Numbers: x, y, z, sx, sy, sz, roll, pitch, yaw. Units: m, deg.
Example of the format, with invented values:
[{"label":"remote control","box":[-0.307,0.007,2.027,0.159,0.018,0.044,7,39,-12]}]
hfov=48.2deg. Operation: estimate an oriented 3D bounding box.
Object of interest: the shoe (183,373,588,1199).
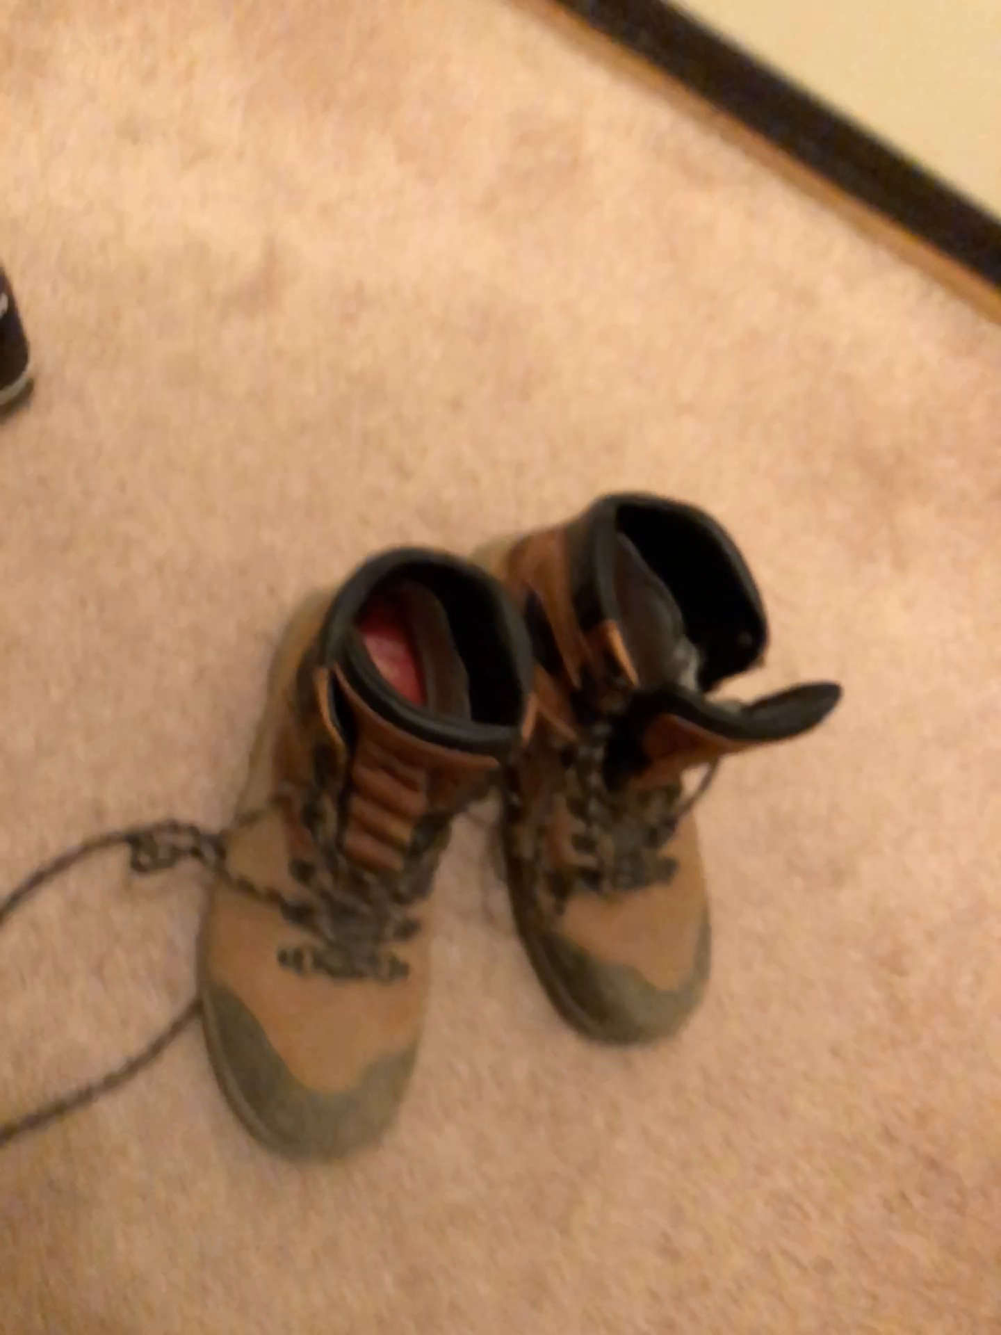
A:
[{"label":"shoe","box":[-0.060,0.067,0.525,0.120,0.219,0.311,8,68,-18]}]

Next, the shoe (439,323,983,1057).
[{"label":"shoe","box":[0.078,0.027,0.580,0.120,0.229,0.310,-2,71,-21]}]
